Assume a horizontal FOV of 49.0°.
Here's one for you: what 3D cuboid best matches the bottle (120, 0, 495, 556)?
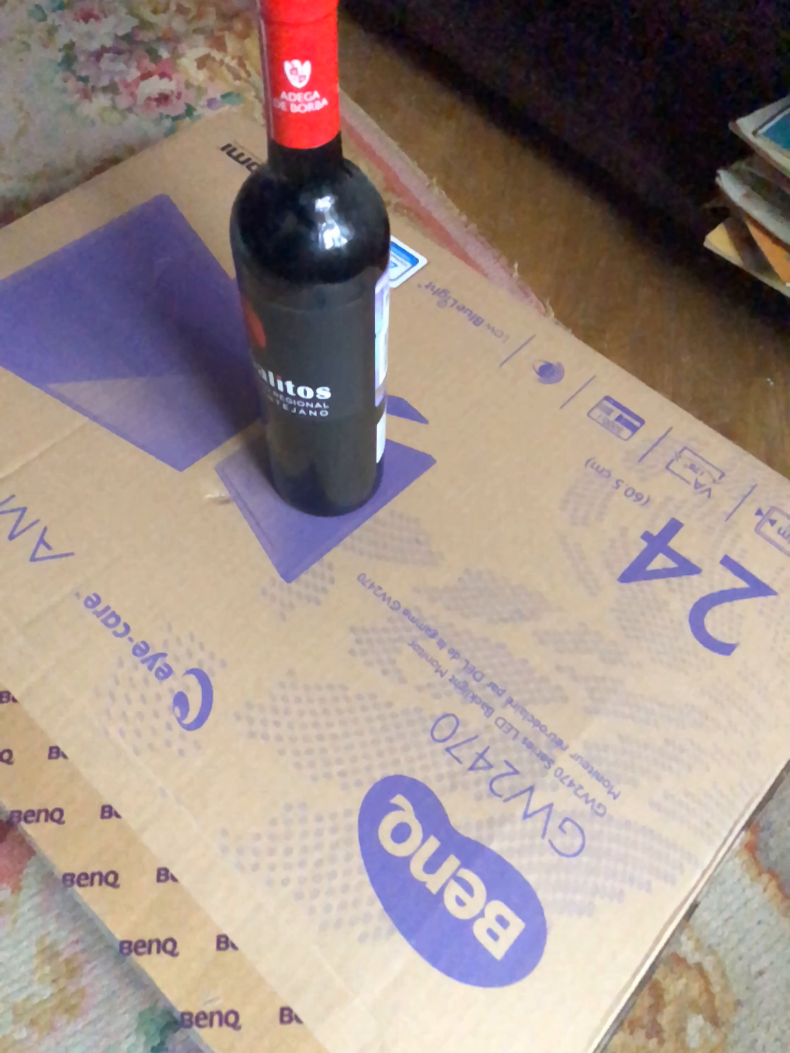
[{"bbox_3d":[-0.039,-0.113,0.424,0.090,0.299,0.090,2,60,-3],"label":"bottle"}]
